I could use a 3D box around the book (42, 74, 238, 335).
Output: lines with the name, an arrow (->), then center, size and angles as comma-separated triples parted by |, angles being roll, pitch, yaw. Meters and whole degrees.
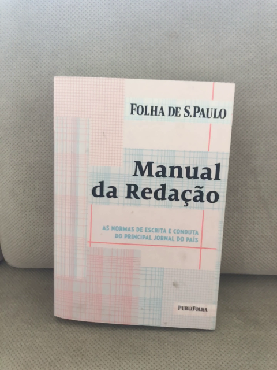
book -> -0.002, 0.017, 0.295 | 0.166, 0.228, 0.040 | 2, 7, 6
